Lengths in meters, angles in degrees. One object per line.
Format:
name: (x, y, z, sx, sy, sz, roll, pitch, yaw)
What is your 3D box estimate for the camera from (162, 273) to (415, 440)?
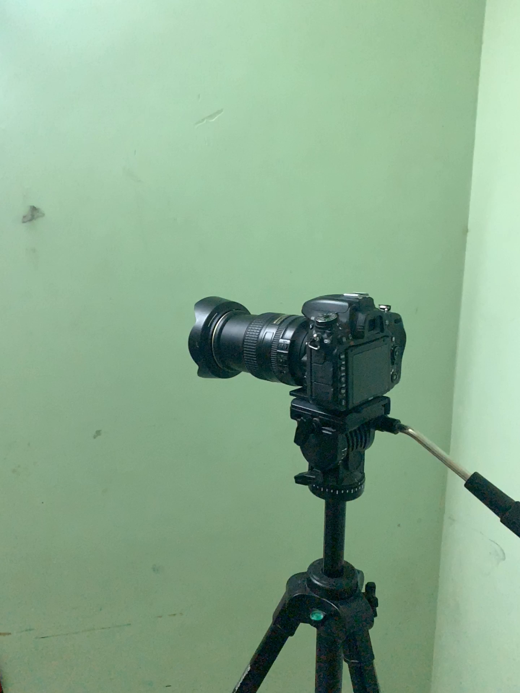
camera: (0.027, -0.008, 0.642, 0.251, 0.132, 0.163, 12, 18, 42)
